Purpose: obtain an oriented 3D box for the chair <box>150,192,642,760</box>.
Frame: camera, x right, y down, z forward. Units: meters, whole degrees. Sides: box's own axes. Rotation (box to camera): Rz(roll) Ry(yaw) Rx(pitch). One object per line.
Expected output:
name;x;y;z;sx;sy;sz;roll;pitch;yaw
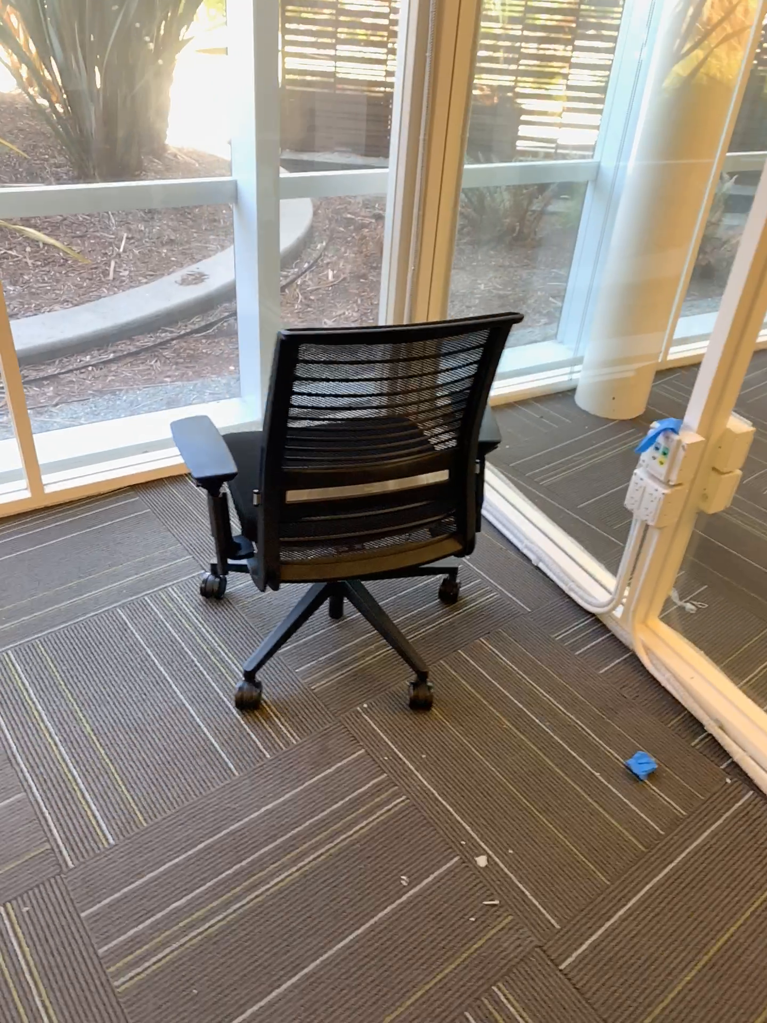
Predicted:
chair;-0.064;-0.126;1.694;0.700;0.894;0.734;-8;36;-18
